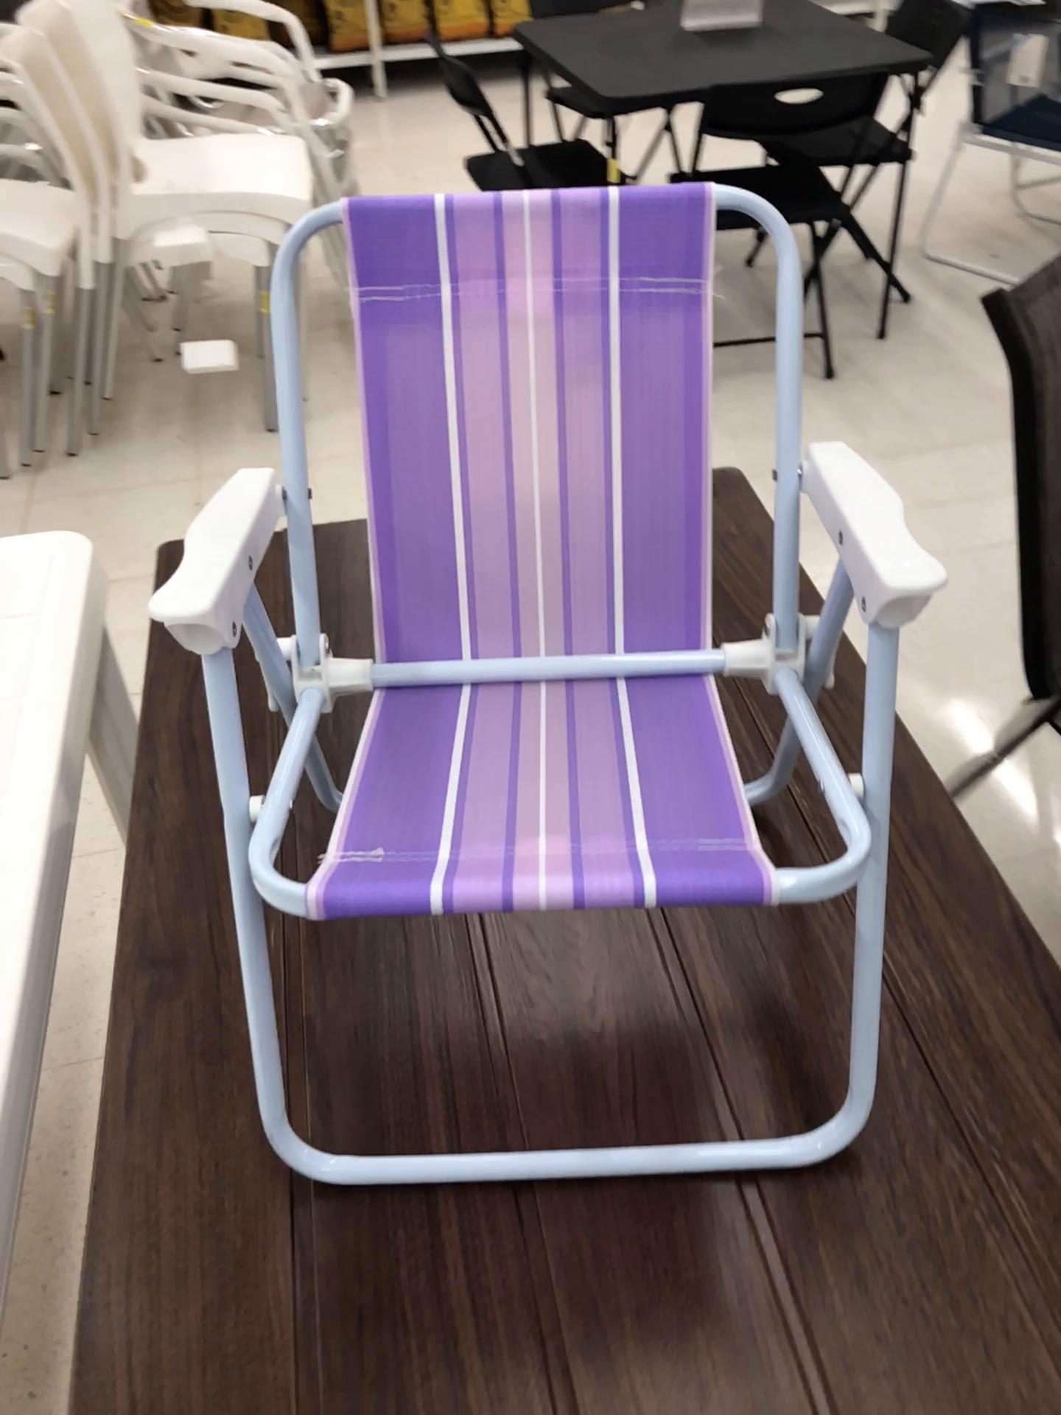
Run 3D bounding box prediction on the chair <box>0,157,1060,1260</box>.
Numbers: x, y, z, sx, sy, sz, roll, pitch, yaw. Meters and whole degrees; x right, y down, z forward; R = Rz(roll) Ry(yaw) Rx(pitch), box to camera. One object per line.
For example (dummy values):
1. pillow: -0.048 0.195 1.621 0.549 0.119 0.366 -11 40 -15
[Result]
1. chair: 0.015 -0.002 0.641 0.420 0.437 0.393 -3 41 1
